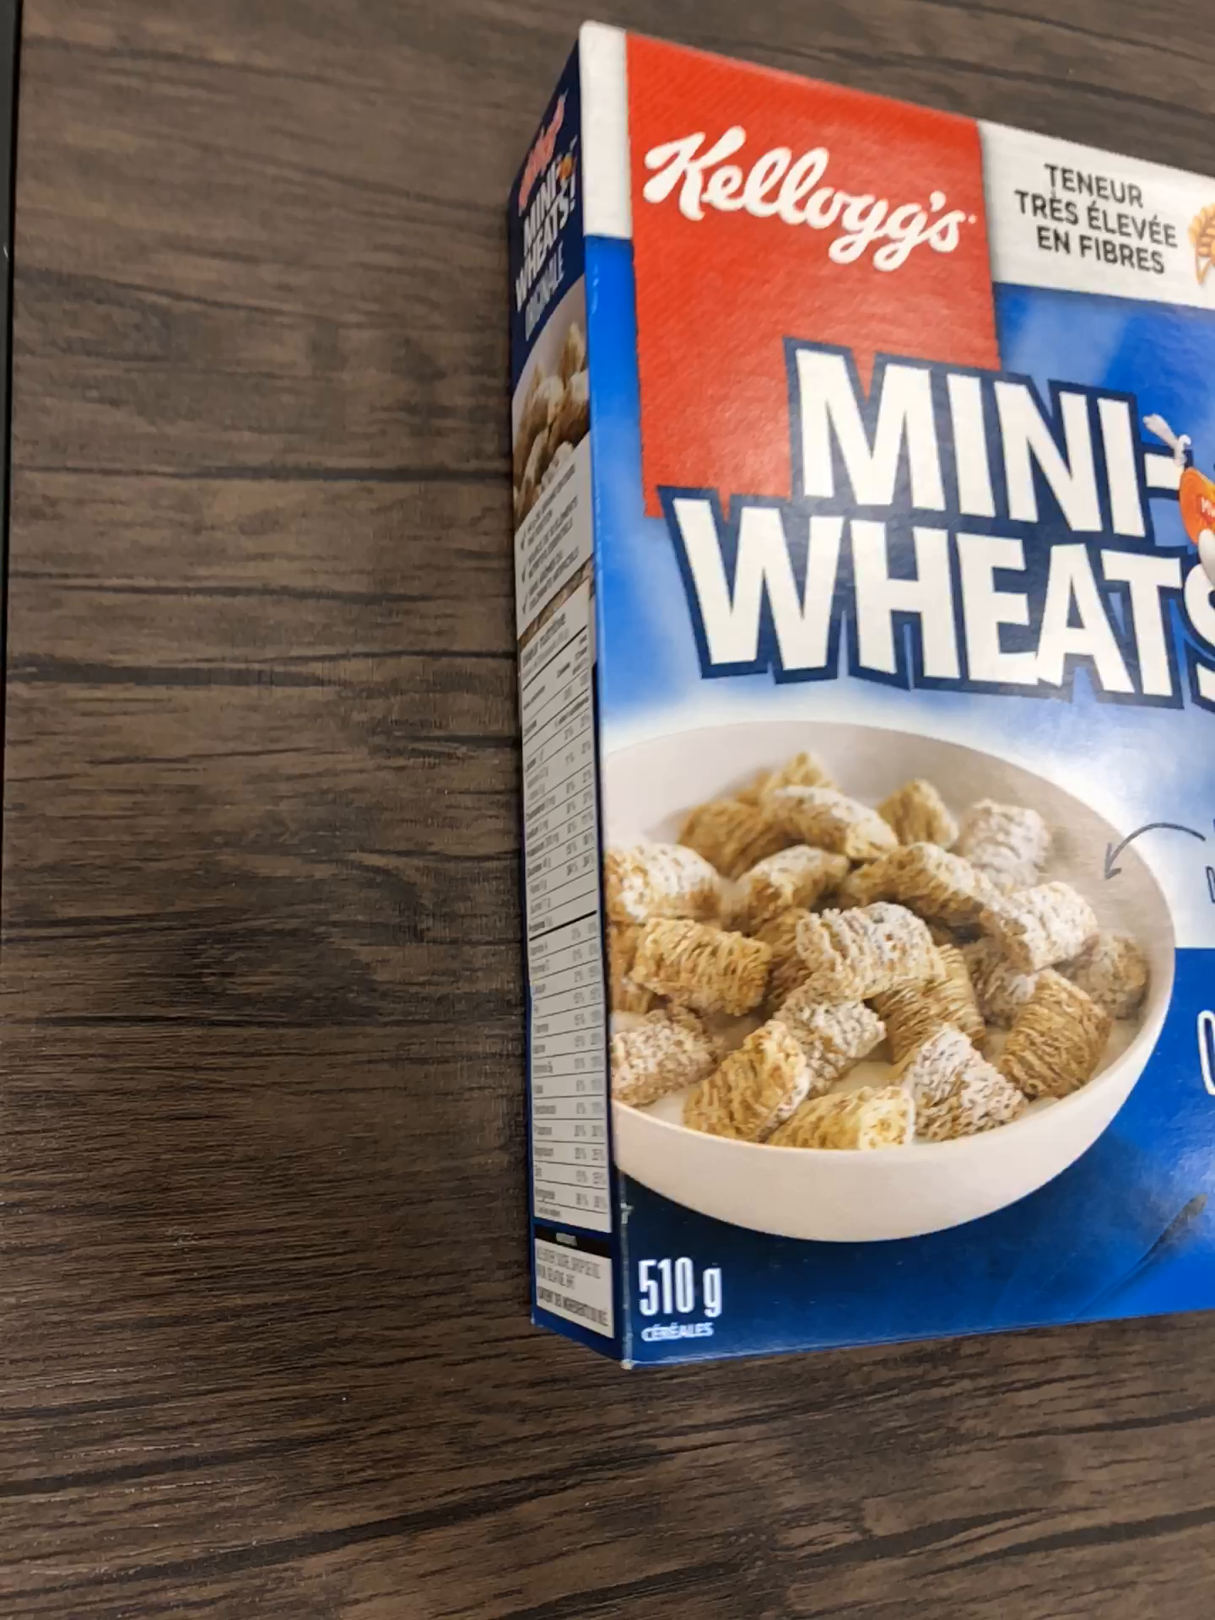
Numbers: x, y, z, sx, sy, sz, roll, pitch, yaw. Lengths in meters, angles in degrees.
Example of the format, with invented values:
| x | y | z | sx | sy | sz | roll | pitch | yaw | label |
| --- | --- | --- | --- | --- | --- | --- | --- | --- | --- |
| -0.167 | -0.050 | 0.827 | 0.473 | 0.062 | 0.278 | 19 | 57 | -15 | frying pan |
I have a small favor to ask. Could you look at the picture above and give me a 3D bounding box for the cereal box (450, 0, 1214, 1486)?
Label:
| x | y | z | sx | sy | sz | roll | pitch | yaw | label |
| --- | --- | --- | --- | --- | --- | --- | --- | --- | --- |
| 0.078 | -0.019 | 0.299 | 0.211 | 0.060 | 0.270 | 2 | 76 | -20 | cereal box |
